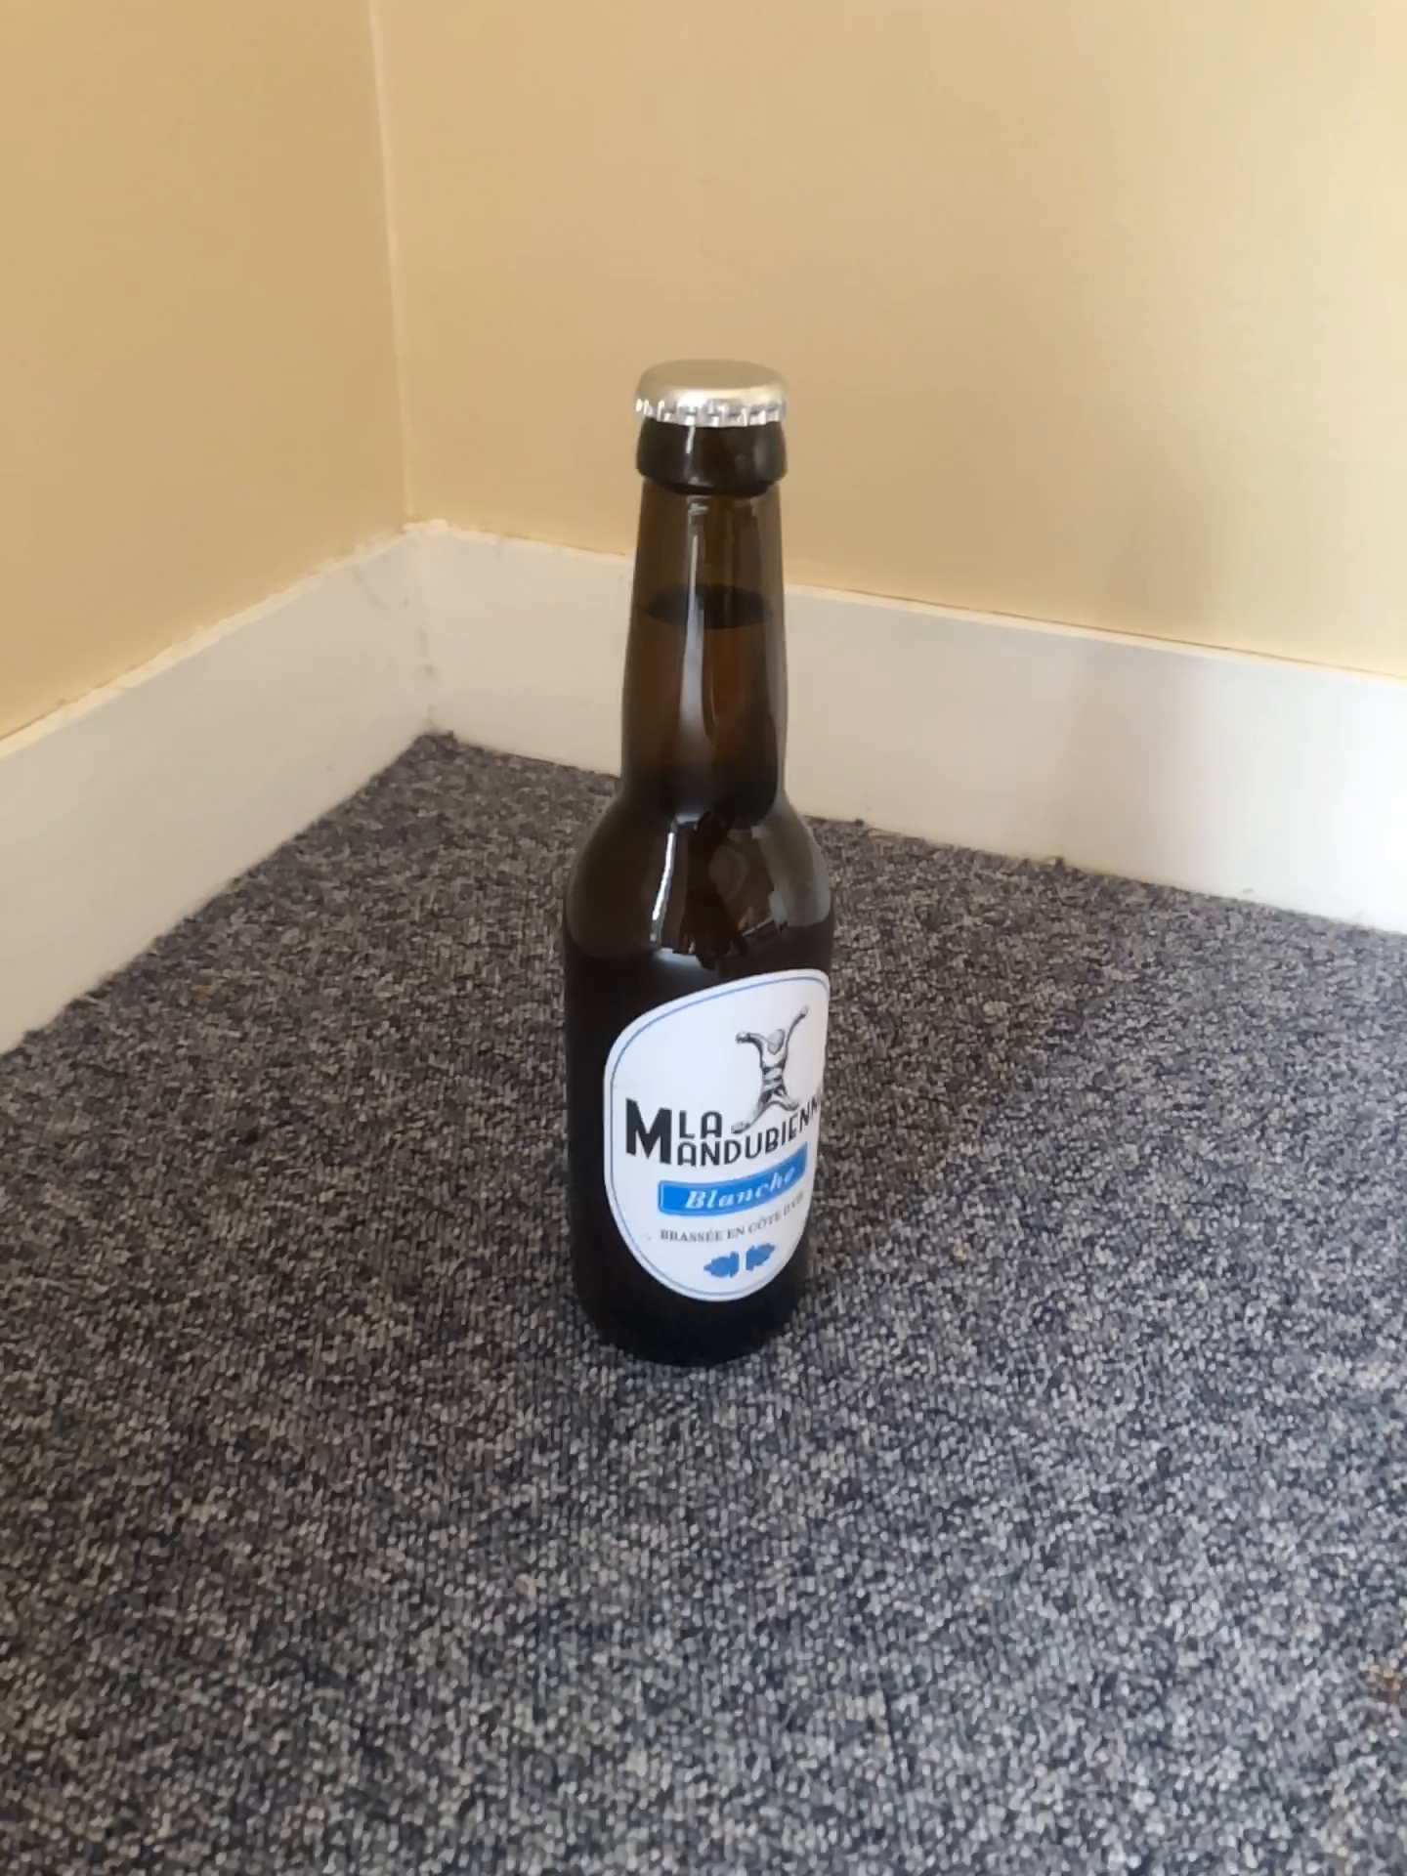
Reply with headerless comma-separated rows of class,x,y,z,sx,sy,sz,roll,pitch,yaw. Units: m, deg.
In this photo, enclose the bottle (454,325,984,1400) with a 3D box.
bottle,-0.002,-0.011,0.328,0.070,0.209,0.070,1,32,-1
